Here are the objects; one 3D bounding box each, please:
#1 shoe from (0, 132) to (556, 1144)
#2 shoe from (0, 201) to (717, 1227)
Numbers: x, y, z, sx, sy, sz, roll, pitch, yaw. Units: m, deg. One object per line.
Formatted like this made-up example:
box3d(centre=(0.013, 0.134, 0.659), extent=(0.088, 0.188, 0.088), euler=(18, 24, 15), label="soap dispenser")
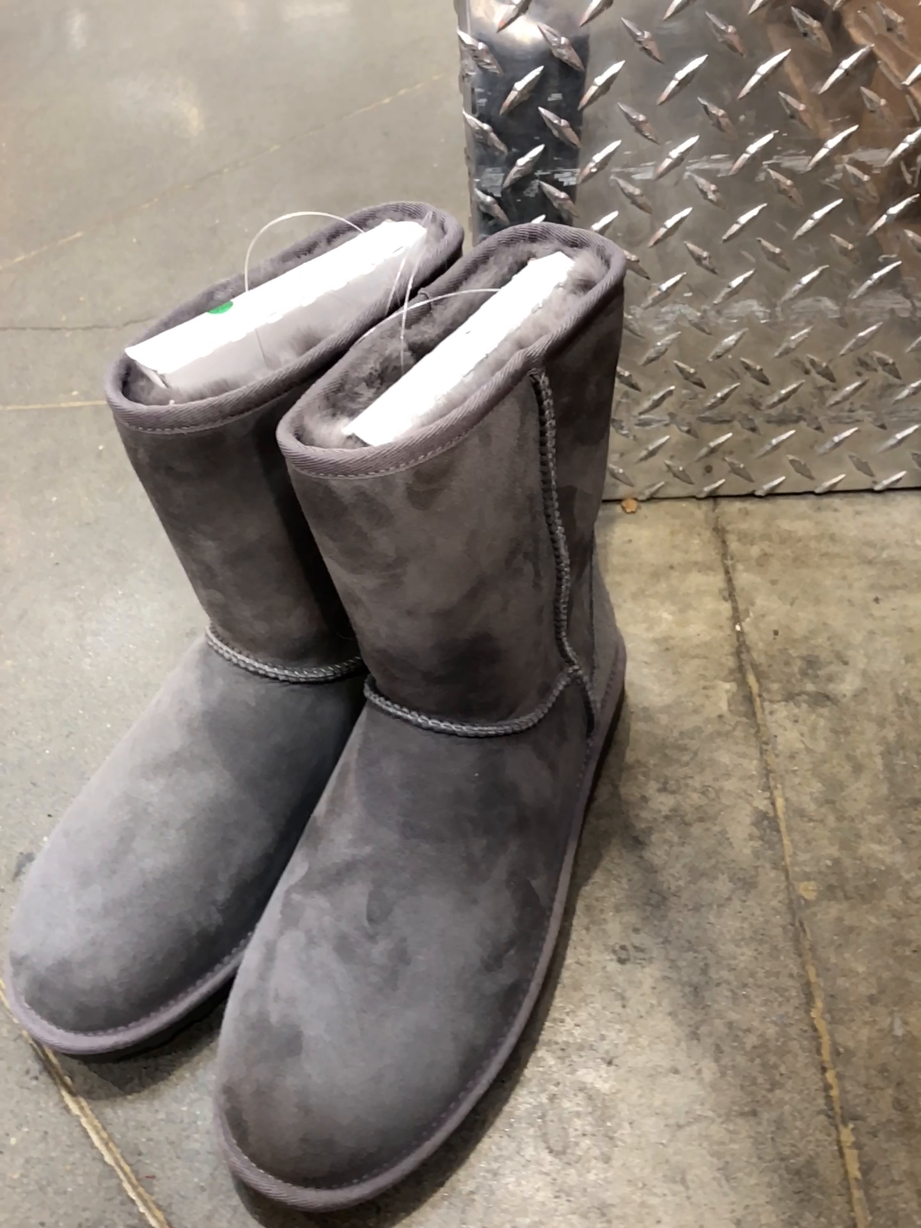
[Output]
box3d(centre=(-0.089, 0.003, 0.389), extent=(0.120, 0.239, 0.280), euler=(25, 54, 26), label="shoe")
box3d(centre=(-0.019, 0.043, 0.350), extent=(0.110, 0.239, 0.271), euler=(17, 51, 20), label="shoe")
